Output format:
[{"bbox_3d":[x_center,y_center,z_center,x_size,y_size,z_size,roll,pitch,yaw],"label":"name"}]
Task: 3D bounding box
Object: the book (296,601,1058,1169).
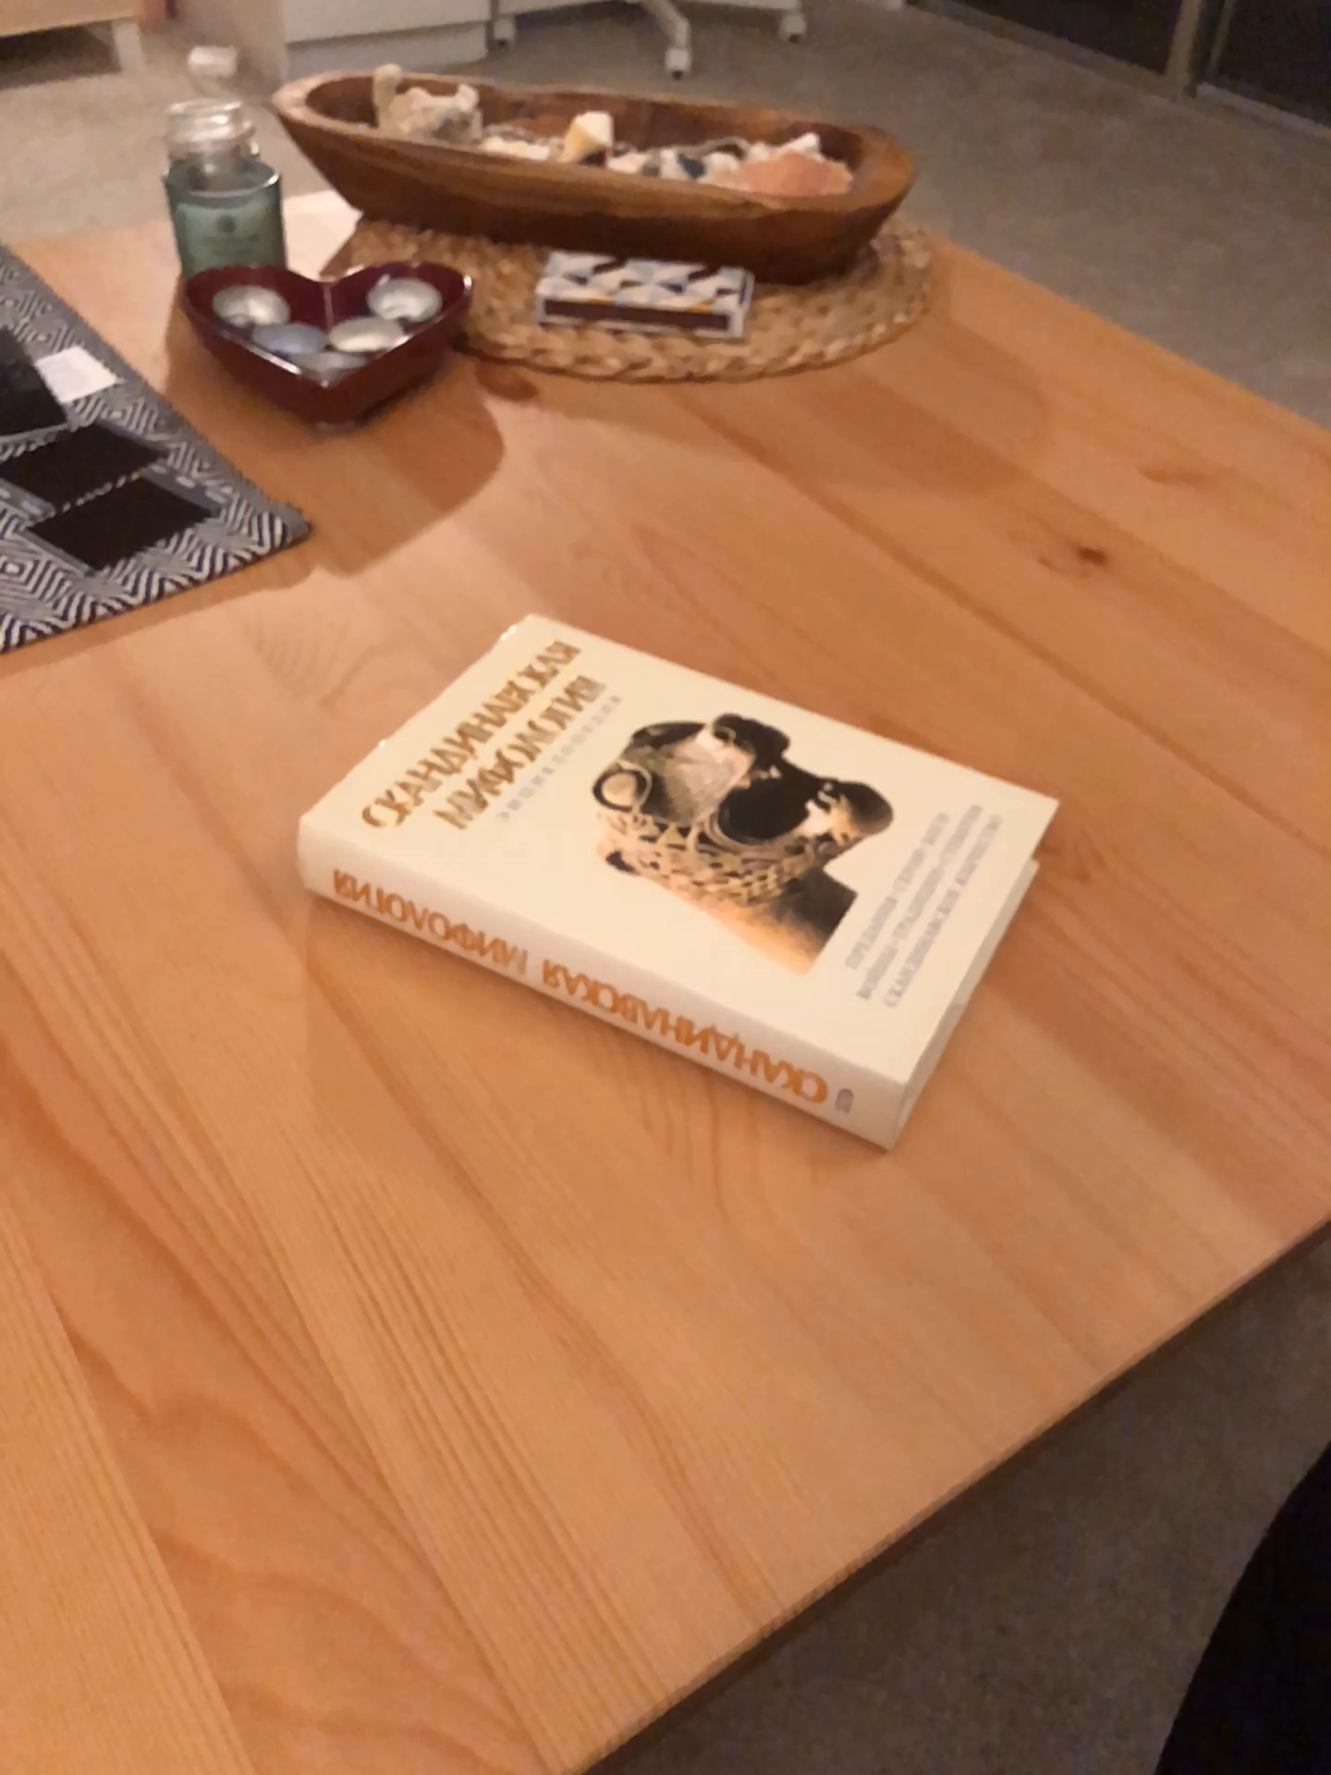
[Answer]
[{"bbox_3d":[0.007,-0.014,0.505,0.210,0.037,0.147,24,48,18],"label":"book"}]
